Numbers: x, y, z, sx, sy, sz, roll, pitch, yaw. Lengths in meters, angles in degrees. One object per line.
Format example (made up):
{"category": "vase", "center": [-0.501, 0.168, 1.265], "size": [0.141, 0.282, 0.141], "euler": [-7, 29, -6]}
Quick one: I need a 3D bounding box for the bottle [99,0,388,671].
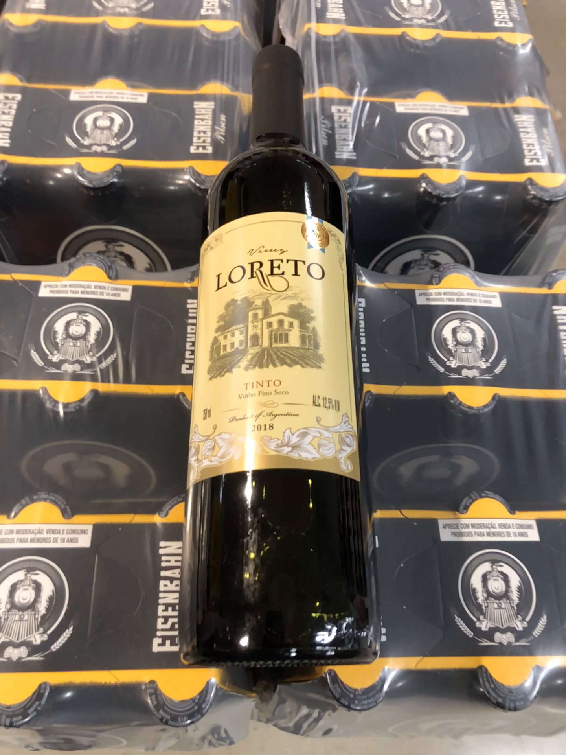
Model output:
{"category": "bottle", "center": [-0.008, -0.053, 0.281], "size": [0.080, 0.080, 0.331], "euler": [-5, 64, 8]}
